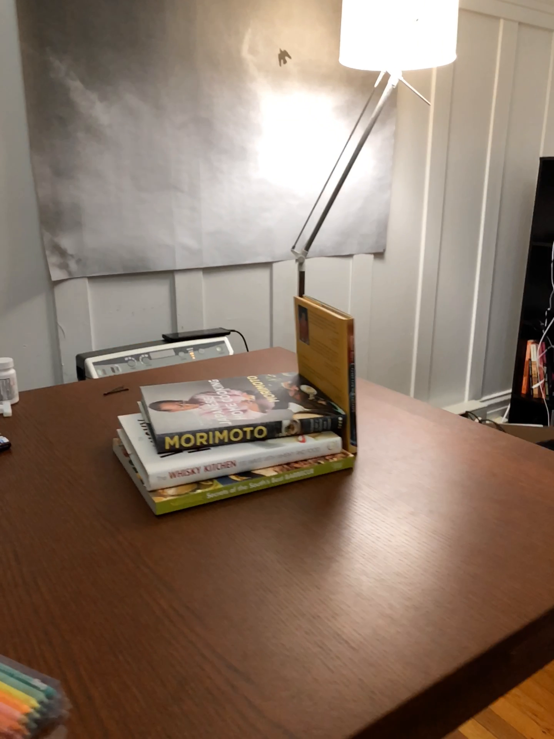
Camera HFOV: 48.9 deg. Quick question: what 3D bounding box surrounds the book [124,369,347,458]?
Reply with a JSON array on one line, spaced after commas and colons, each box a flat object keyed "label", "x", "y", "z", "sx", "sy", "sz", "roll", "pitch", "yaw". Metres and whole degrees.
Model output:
[{"label": "book", "x": -0.072, "y": 0.055, "z": 0.909, "sx": 0.280, "sy": 0.030, "sz": 0.221, "roll": -5, "pitch": 18, "yaw": -20}]

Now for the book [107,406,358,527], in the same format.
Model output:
[{"label": "book", "x": -0.068, "y": 0.120, "z": 0.845, "sx": 0.280, "sy": 0.030, "sz": 0.221, "roll": -7, "pitch": 19, "yaw": -27}]

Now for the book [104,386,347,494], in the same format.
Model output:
[{"label": "book", "x": -0.080, "y": 0.086, "z": 0.859, "sx": 0.280, "sy": 0.030, "sz": 0.221, "roll": -7, "pitch": 18, "yaw": -24}]

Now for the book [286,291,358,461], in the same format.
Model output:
[{"label": "book", "x": 0.065, "y": 0.000, "z": 0.934, "sx": 0.030, "sy": 0.209, "sz": 0.211, "roll": -7, "pitch": 17, "yaw": -16}]
